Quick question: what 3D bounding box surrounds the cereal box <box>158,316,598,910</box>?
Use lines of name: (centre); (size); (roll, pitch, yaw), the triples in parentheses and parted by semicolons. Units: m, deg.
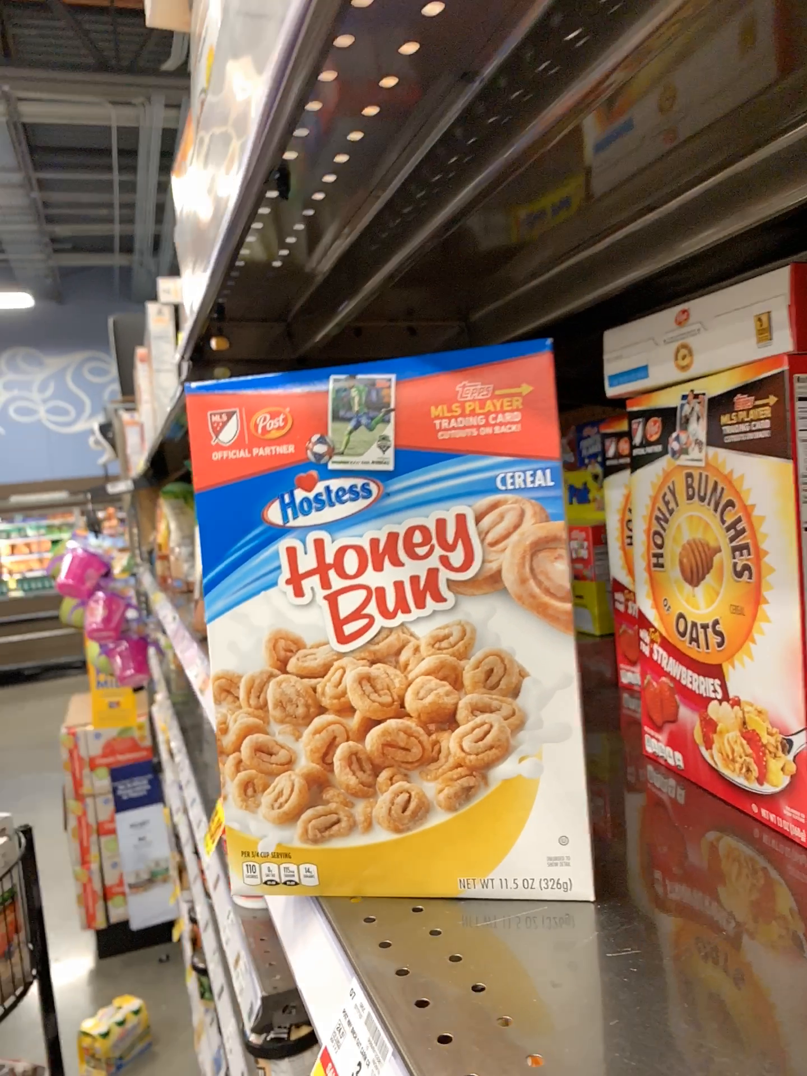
cereal box: (-0.011, 0.042, 0.441); (0.200, 0.280, 0.060); (-4, 2, 11)
